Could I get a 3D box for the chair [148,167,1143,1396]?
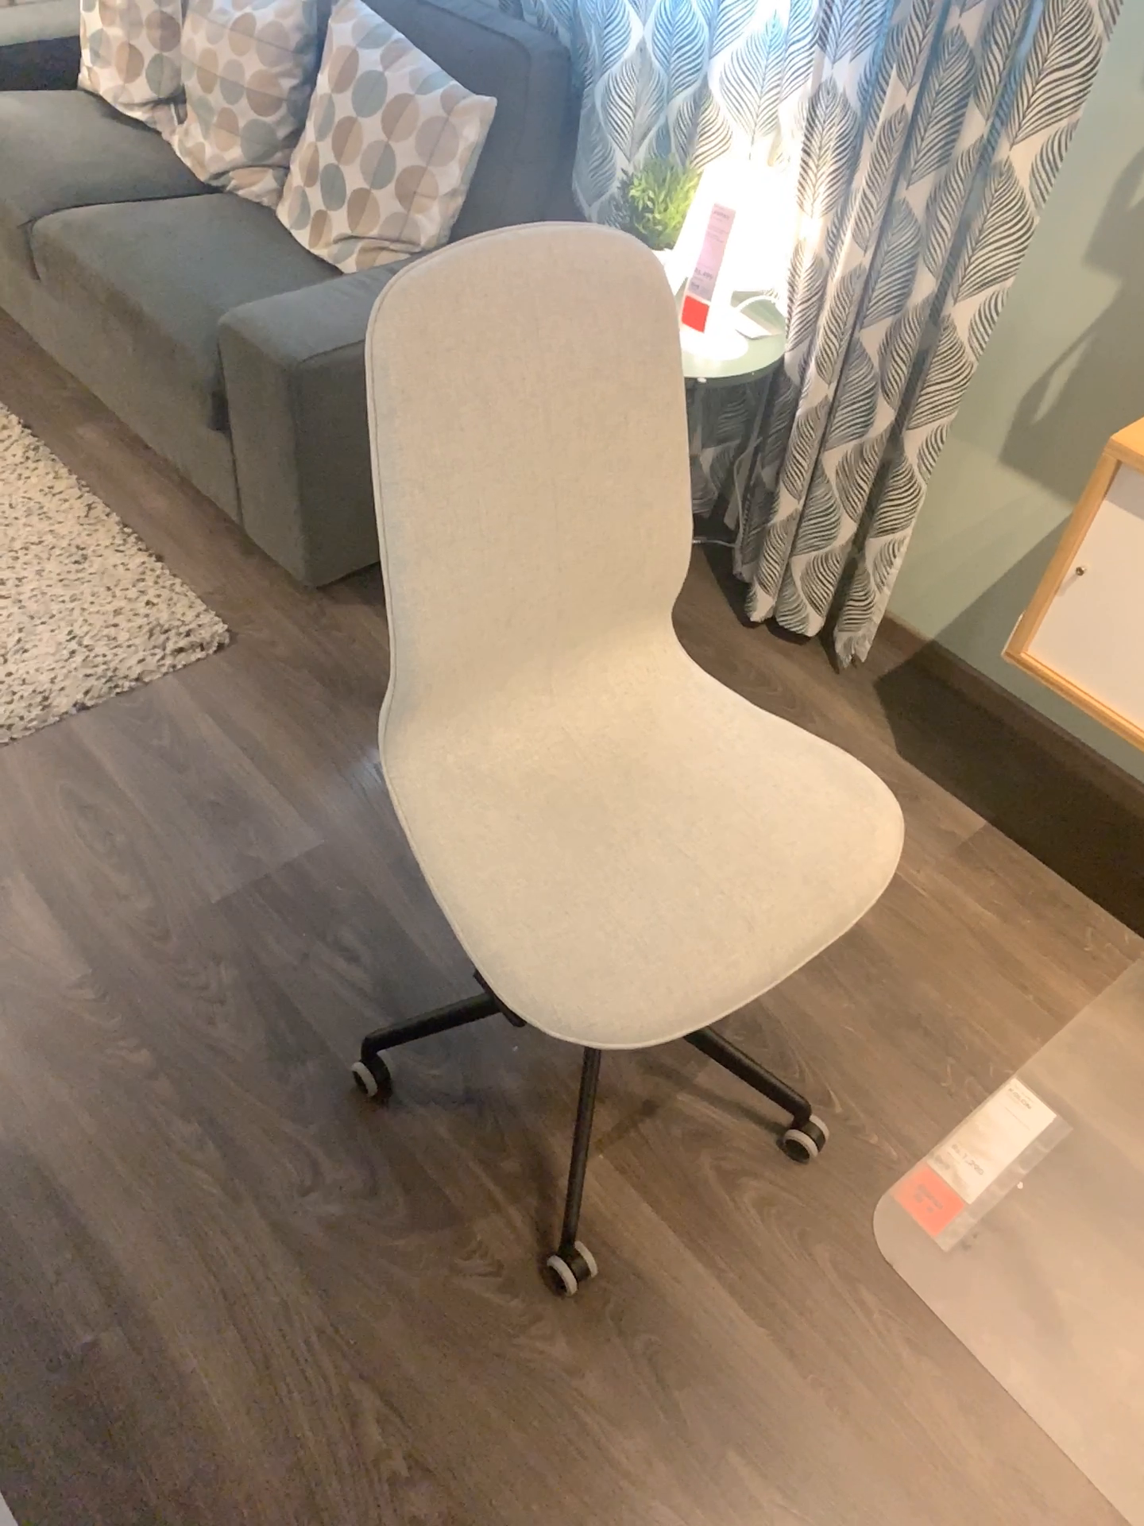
[{"bbox_3d":[0.064,0.038,1.311,0.631,1.006,0.711,-28,56,-30],"label":"chair"}]
